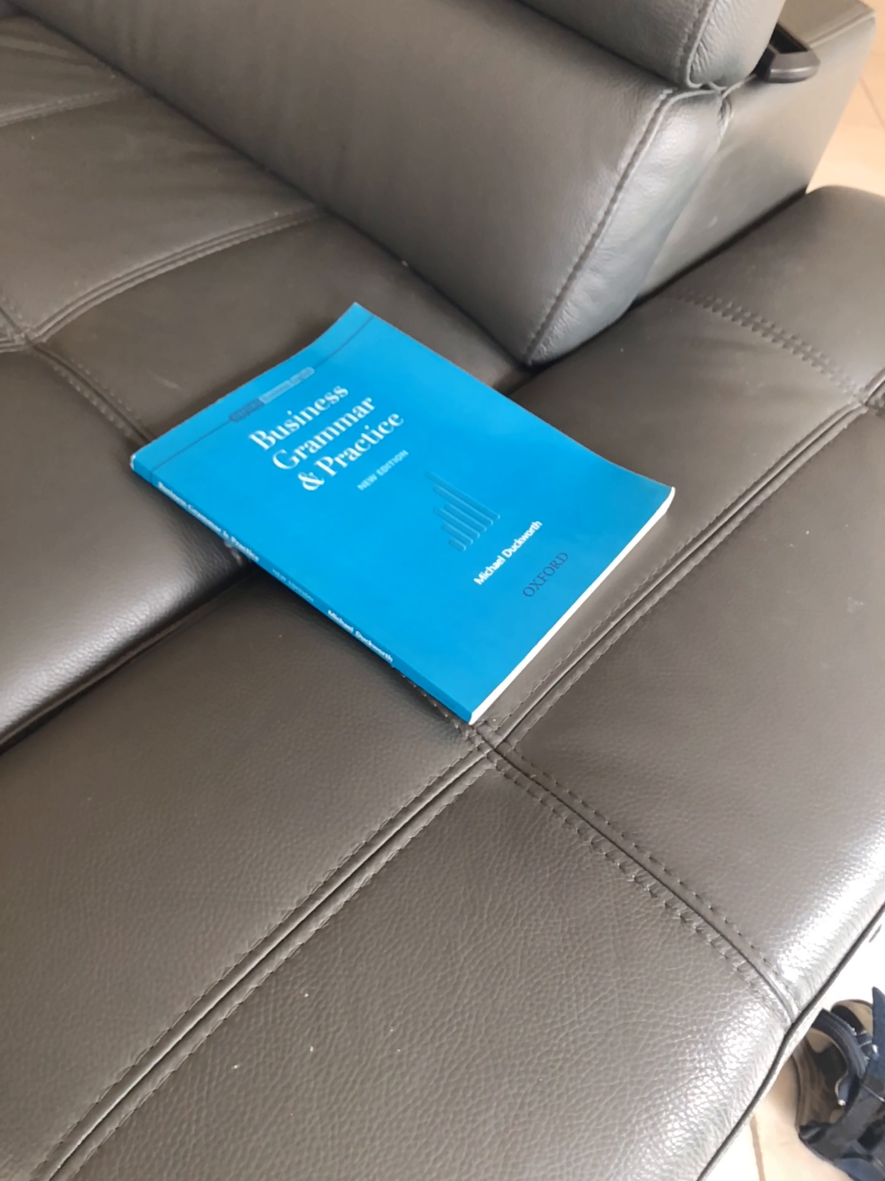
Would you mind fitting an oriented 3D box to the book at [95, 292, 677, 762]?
[{"bbox_3d":[-0.031,-0.061,0.616,0.280,0.020,0.231,35,59,17],"label":"book"}]
